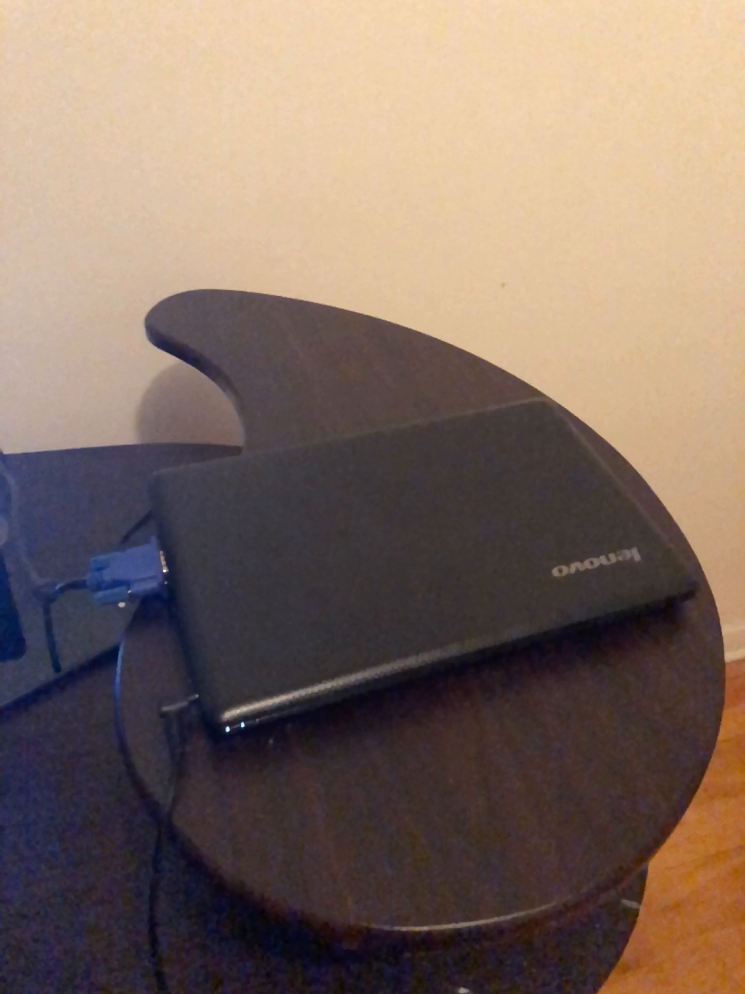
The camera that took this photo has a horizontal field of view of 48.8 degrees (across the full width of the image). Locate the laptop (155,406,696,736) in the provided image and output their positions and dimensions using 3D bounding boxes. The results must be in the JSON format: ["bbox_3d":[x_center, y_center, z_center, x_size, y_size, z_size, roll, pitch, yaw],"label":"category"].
[{"bbox_3d":[0.021,0.024,0.468,0.259,0.008,0.173,-13,44,-15],"label":"laptop"}]
